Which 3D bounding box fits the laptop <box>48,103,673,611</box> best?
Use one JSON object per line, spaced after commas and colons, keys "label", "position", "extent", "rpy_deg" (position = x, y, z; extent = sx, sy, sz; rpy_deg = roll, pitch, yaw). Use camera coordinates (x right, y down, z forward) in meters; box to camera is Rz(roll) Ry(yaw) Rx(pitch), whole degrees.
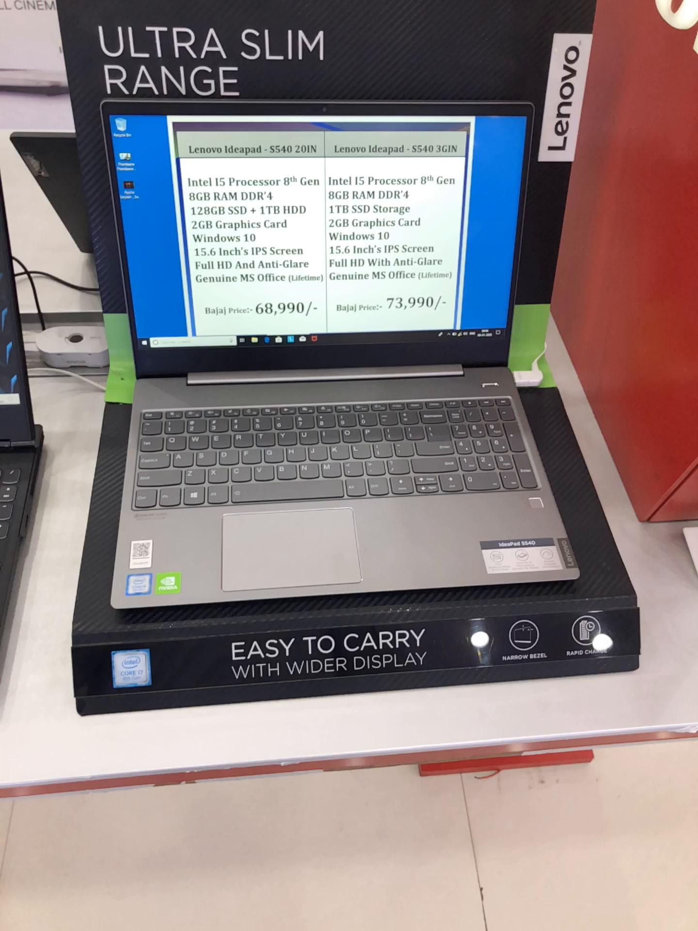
{"label": "laptop", "position": [-0.006, -0.098, 0.584], "extent": [0.336, 0.194, 0.325], "rpy_deg": [-3, 51, -7]}
